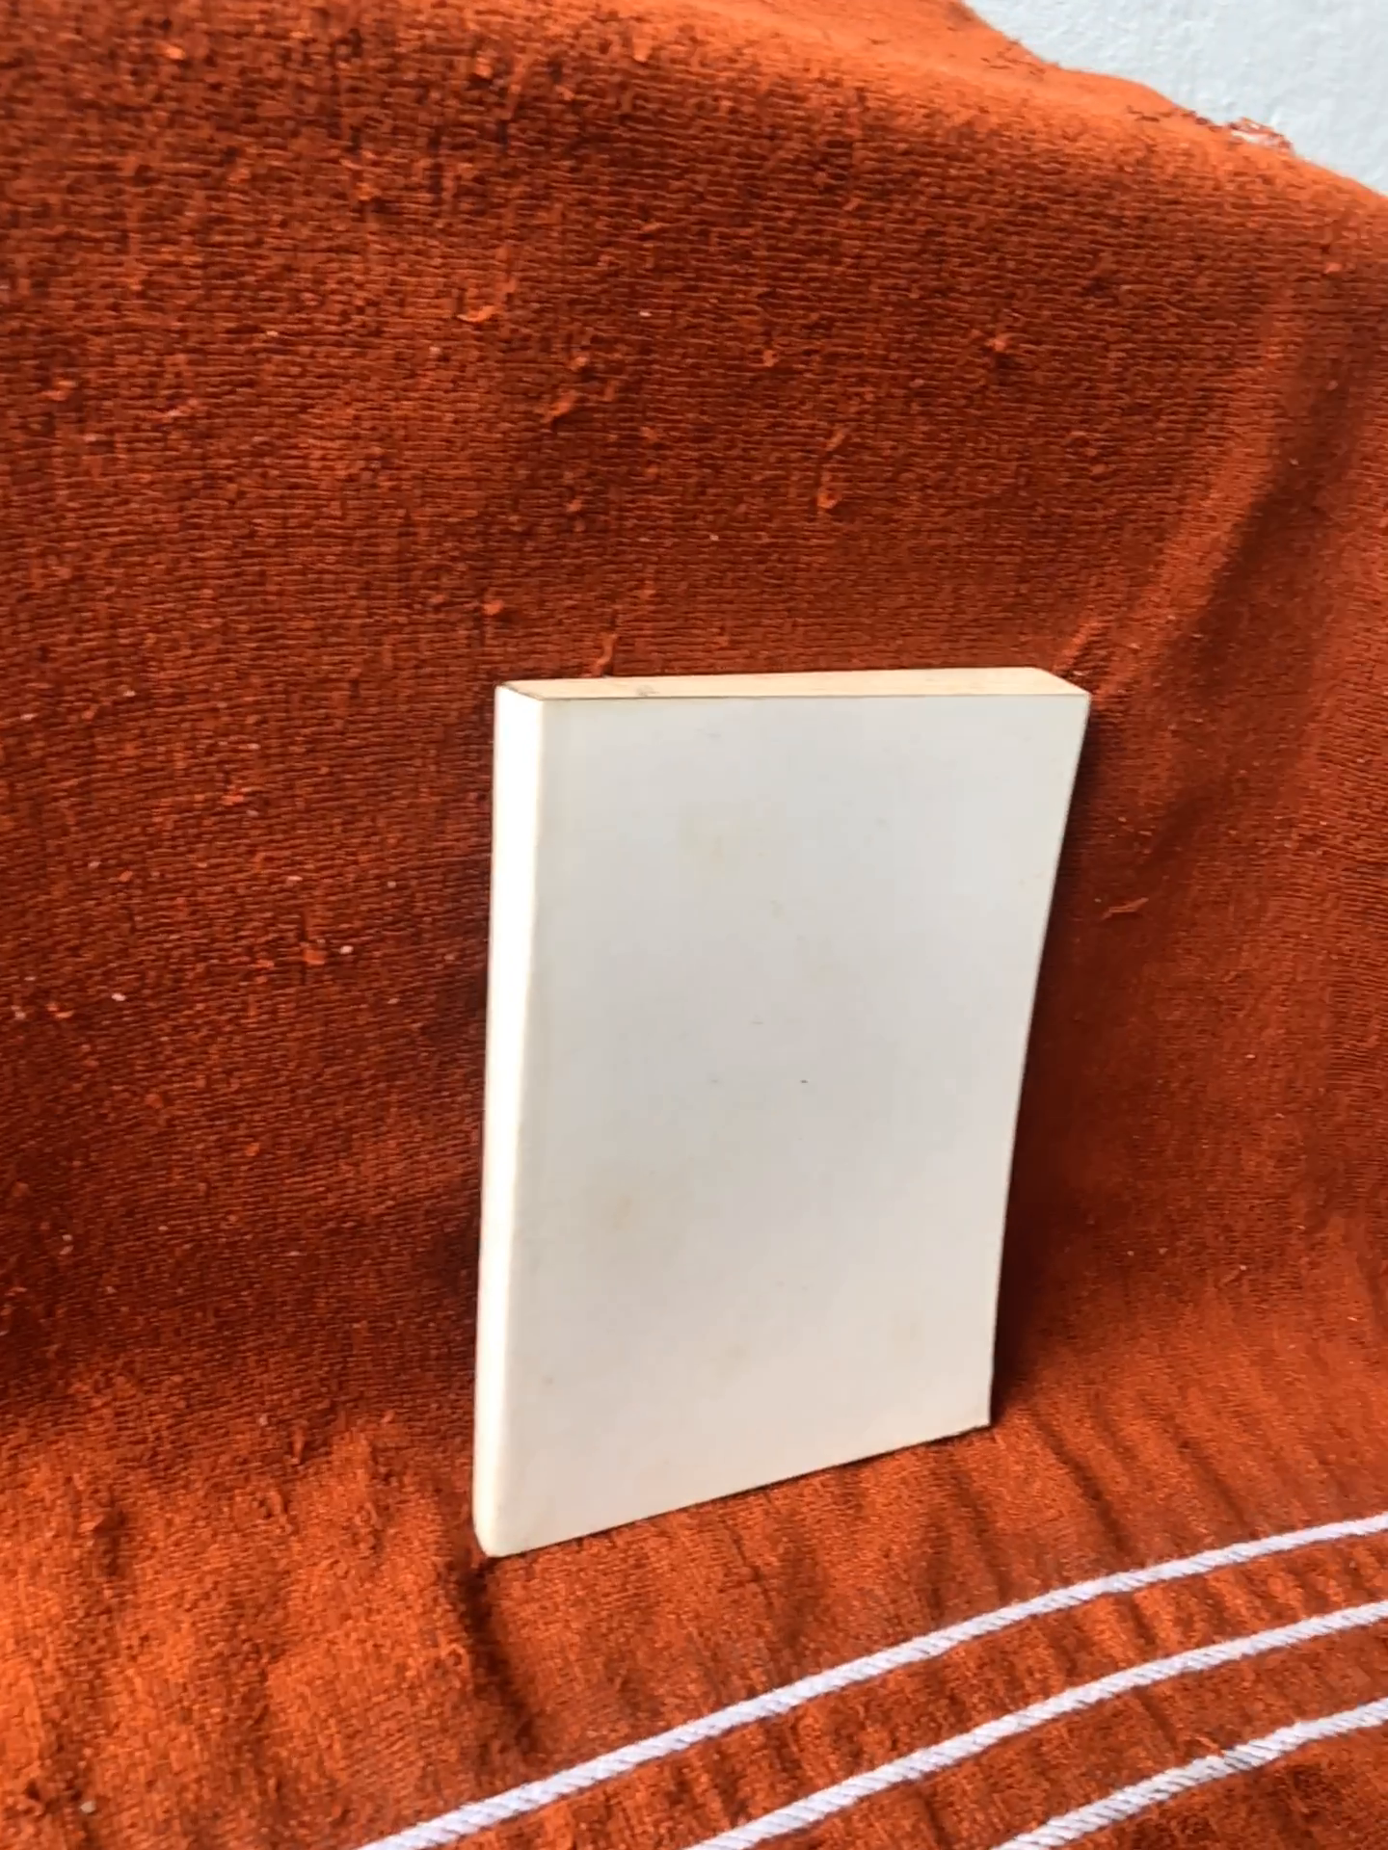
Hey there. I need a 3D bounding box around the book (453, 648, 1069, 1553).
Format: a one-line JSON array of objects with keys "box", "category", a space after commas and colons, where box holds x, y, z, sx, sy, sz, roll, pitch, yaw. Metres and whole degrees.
[{"box": [0.018, 0.036, 0.377, 0.151, 0.200, 0.030, -4, 10, -28], "category": "book"}]
